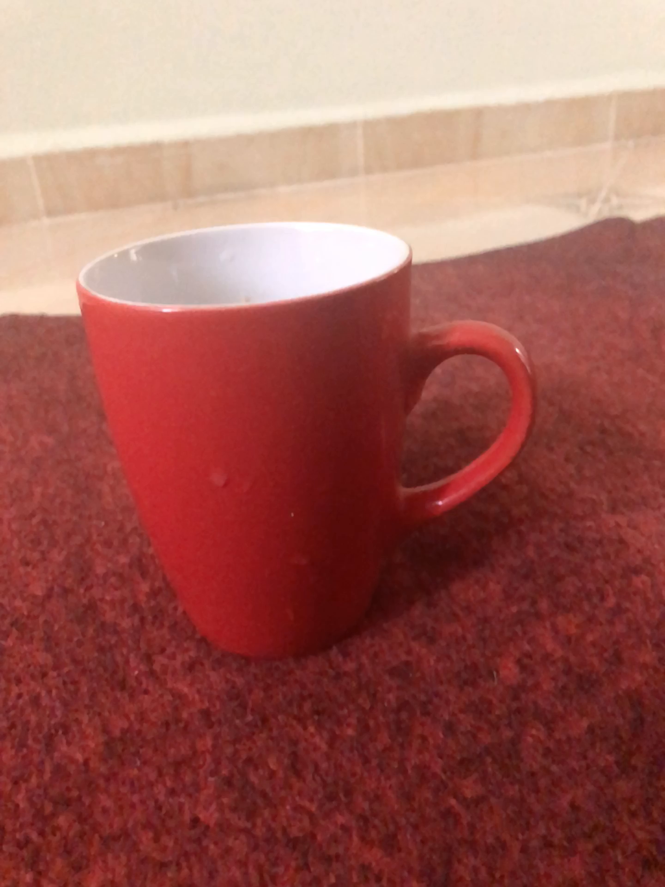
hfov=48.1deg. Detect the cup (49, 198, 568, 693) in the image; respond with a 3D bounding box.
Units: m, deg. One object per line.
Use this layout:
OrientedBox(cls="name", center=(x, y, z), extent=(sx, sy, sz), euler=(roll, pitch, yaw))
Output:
OrientedBox(cls="cup", center=(-0.008, -0.007, 0.206), extent=(0.109, 0.094, 0.078), euler=(-11, 28, -12))
